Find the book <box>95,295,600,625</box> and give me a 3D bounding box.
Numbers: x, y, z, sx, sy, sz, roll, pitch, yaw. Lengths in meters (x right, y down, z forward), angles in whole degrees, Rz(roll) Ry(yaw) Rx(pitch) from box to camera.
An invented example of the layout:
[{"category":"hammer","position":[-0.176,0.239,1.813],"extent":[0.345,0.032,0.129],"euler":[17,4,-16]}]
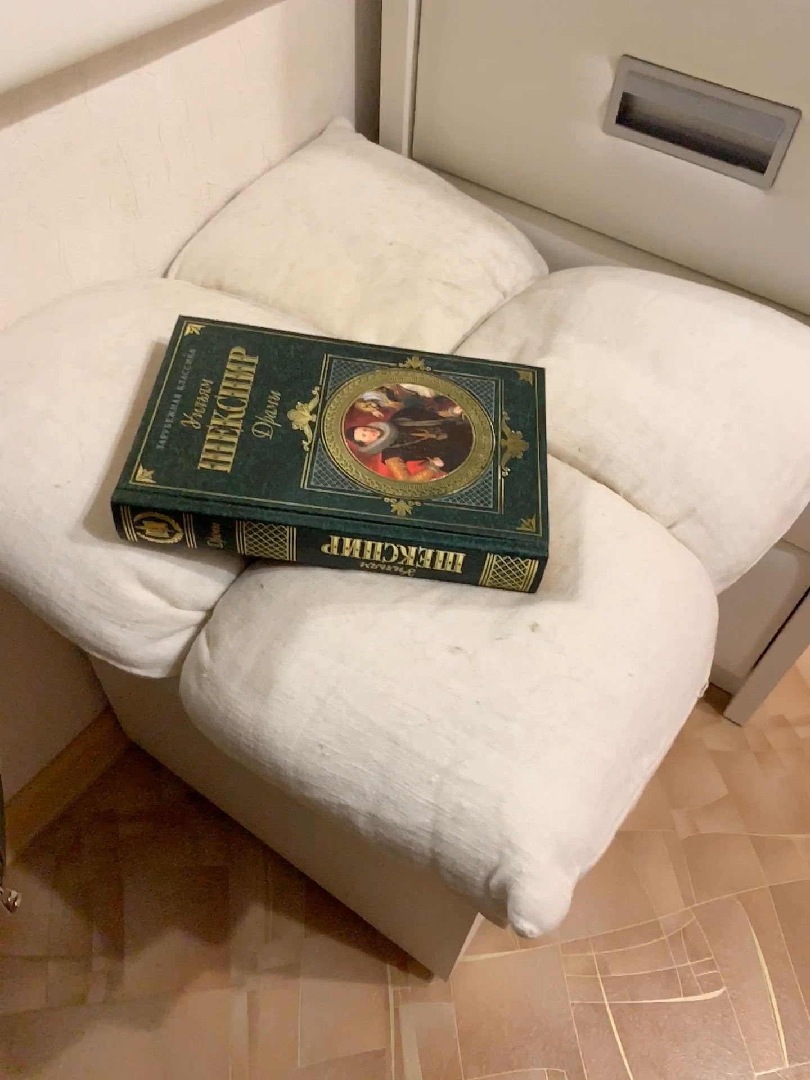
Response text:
[{"category":"book","position":[-0.020,-0.045,0.421],"extent":[0.220,0.040,0.151],"euler":[8,53,-3]}]
